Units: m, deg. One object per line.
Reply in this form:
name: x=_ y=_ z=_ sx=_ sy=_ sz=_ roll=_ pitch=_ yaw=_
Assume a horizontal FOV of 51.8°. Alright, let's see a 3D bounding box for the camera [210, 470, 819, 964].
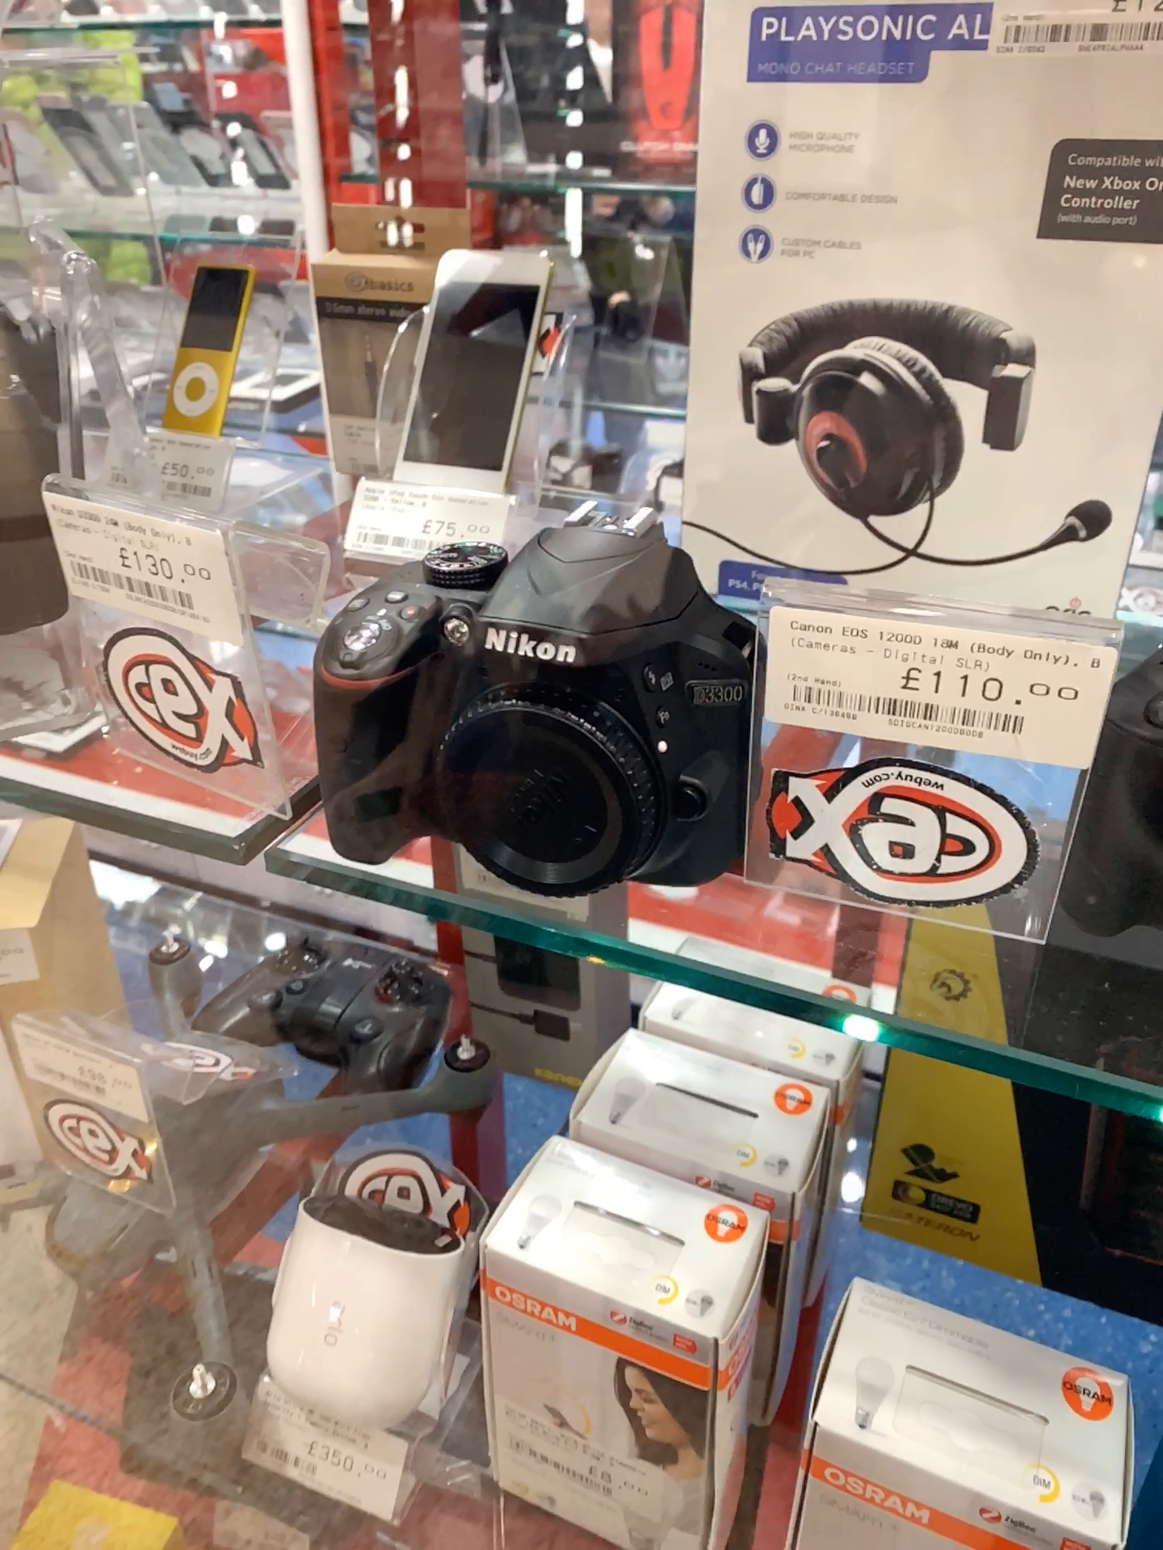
camera: x=-0.011 y=-0.025 z=0.336 sx=0.130 sy=0.079 sz=0.111 roll=9 pitch=31 yaw=16
